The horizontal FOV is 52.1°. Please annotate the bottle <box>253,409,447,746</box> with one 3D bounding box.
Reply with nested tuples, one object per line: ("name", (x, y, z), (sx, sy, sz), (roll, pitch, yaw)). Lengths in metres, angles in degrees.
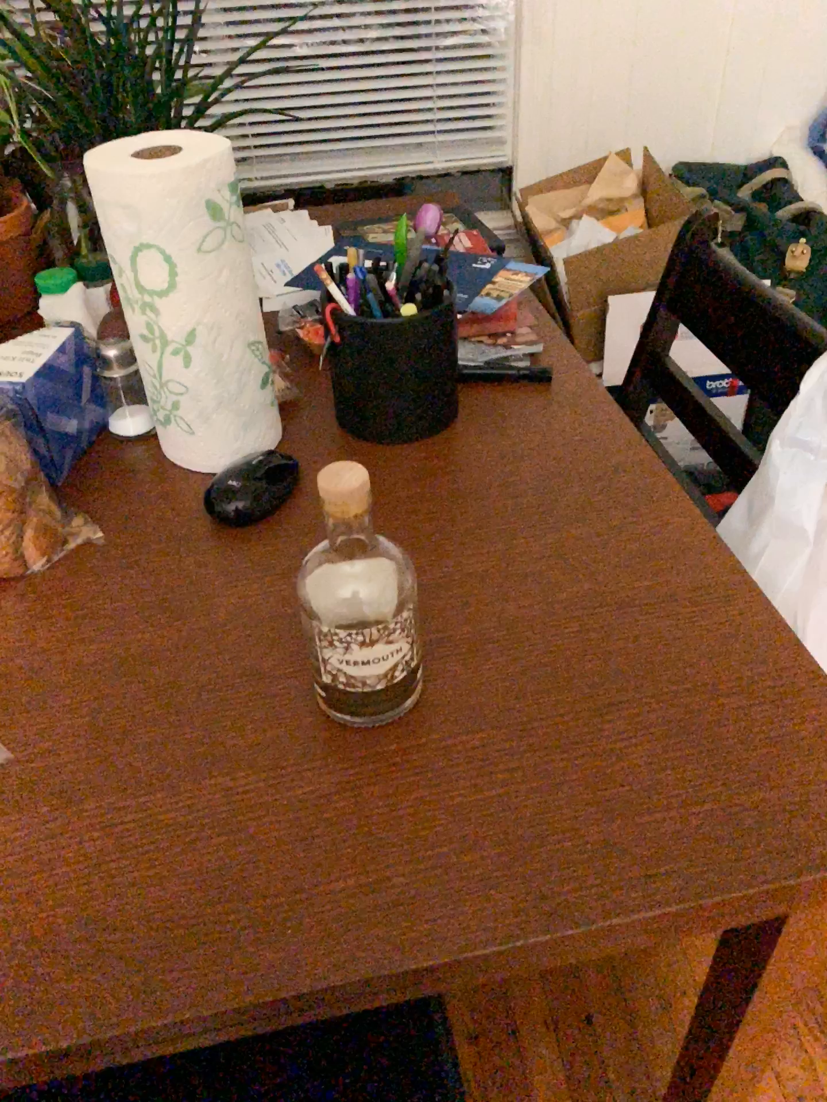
("bottle", (-0.035, 0.021, 0.527), (0.090, 0.189, 0.081), (-11, 40, -8))
